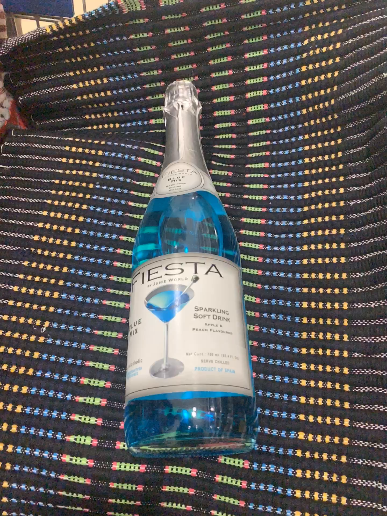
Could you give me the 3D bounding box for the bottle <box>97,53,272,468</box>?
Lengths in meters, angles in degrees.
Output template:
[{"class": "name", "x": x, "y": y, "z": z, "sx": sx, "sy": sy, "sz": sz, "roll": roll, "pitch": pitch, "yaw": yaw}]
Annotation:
[{"class": "bottle", "x": -0.002, "y": -0.013, "z": 0.316, "sx": 0.080, "sy": 0.100, "sz": 0.311, "roll": -9, "pitch": 59, "yaw": 12}]
